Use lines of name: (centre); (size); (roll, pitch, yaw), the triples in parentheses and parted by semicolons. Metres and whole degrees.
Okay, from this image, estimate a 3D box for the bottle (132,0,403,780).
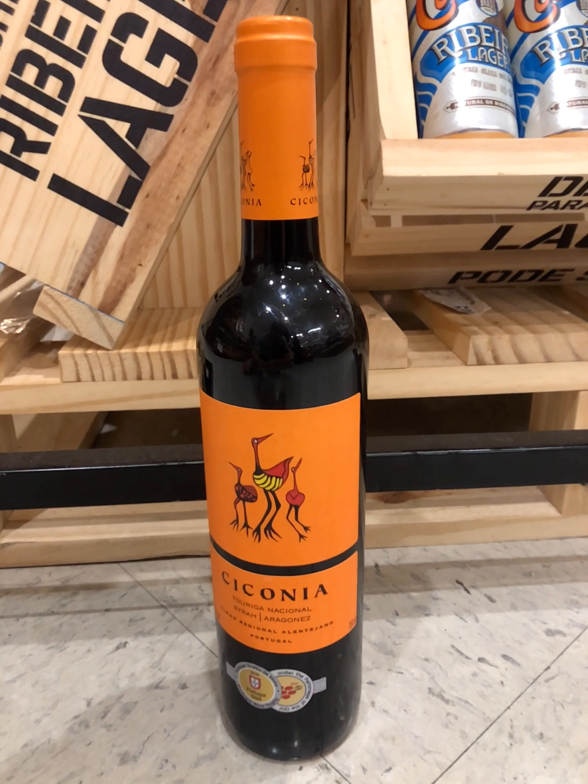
bottle: (-0.002, 0.014, 0.284); (0.080, 0.318, 0.070); (4, 21, 11)
